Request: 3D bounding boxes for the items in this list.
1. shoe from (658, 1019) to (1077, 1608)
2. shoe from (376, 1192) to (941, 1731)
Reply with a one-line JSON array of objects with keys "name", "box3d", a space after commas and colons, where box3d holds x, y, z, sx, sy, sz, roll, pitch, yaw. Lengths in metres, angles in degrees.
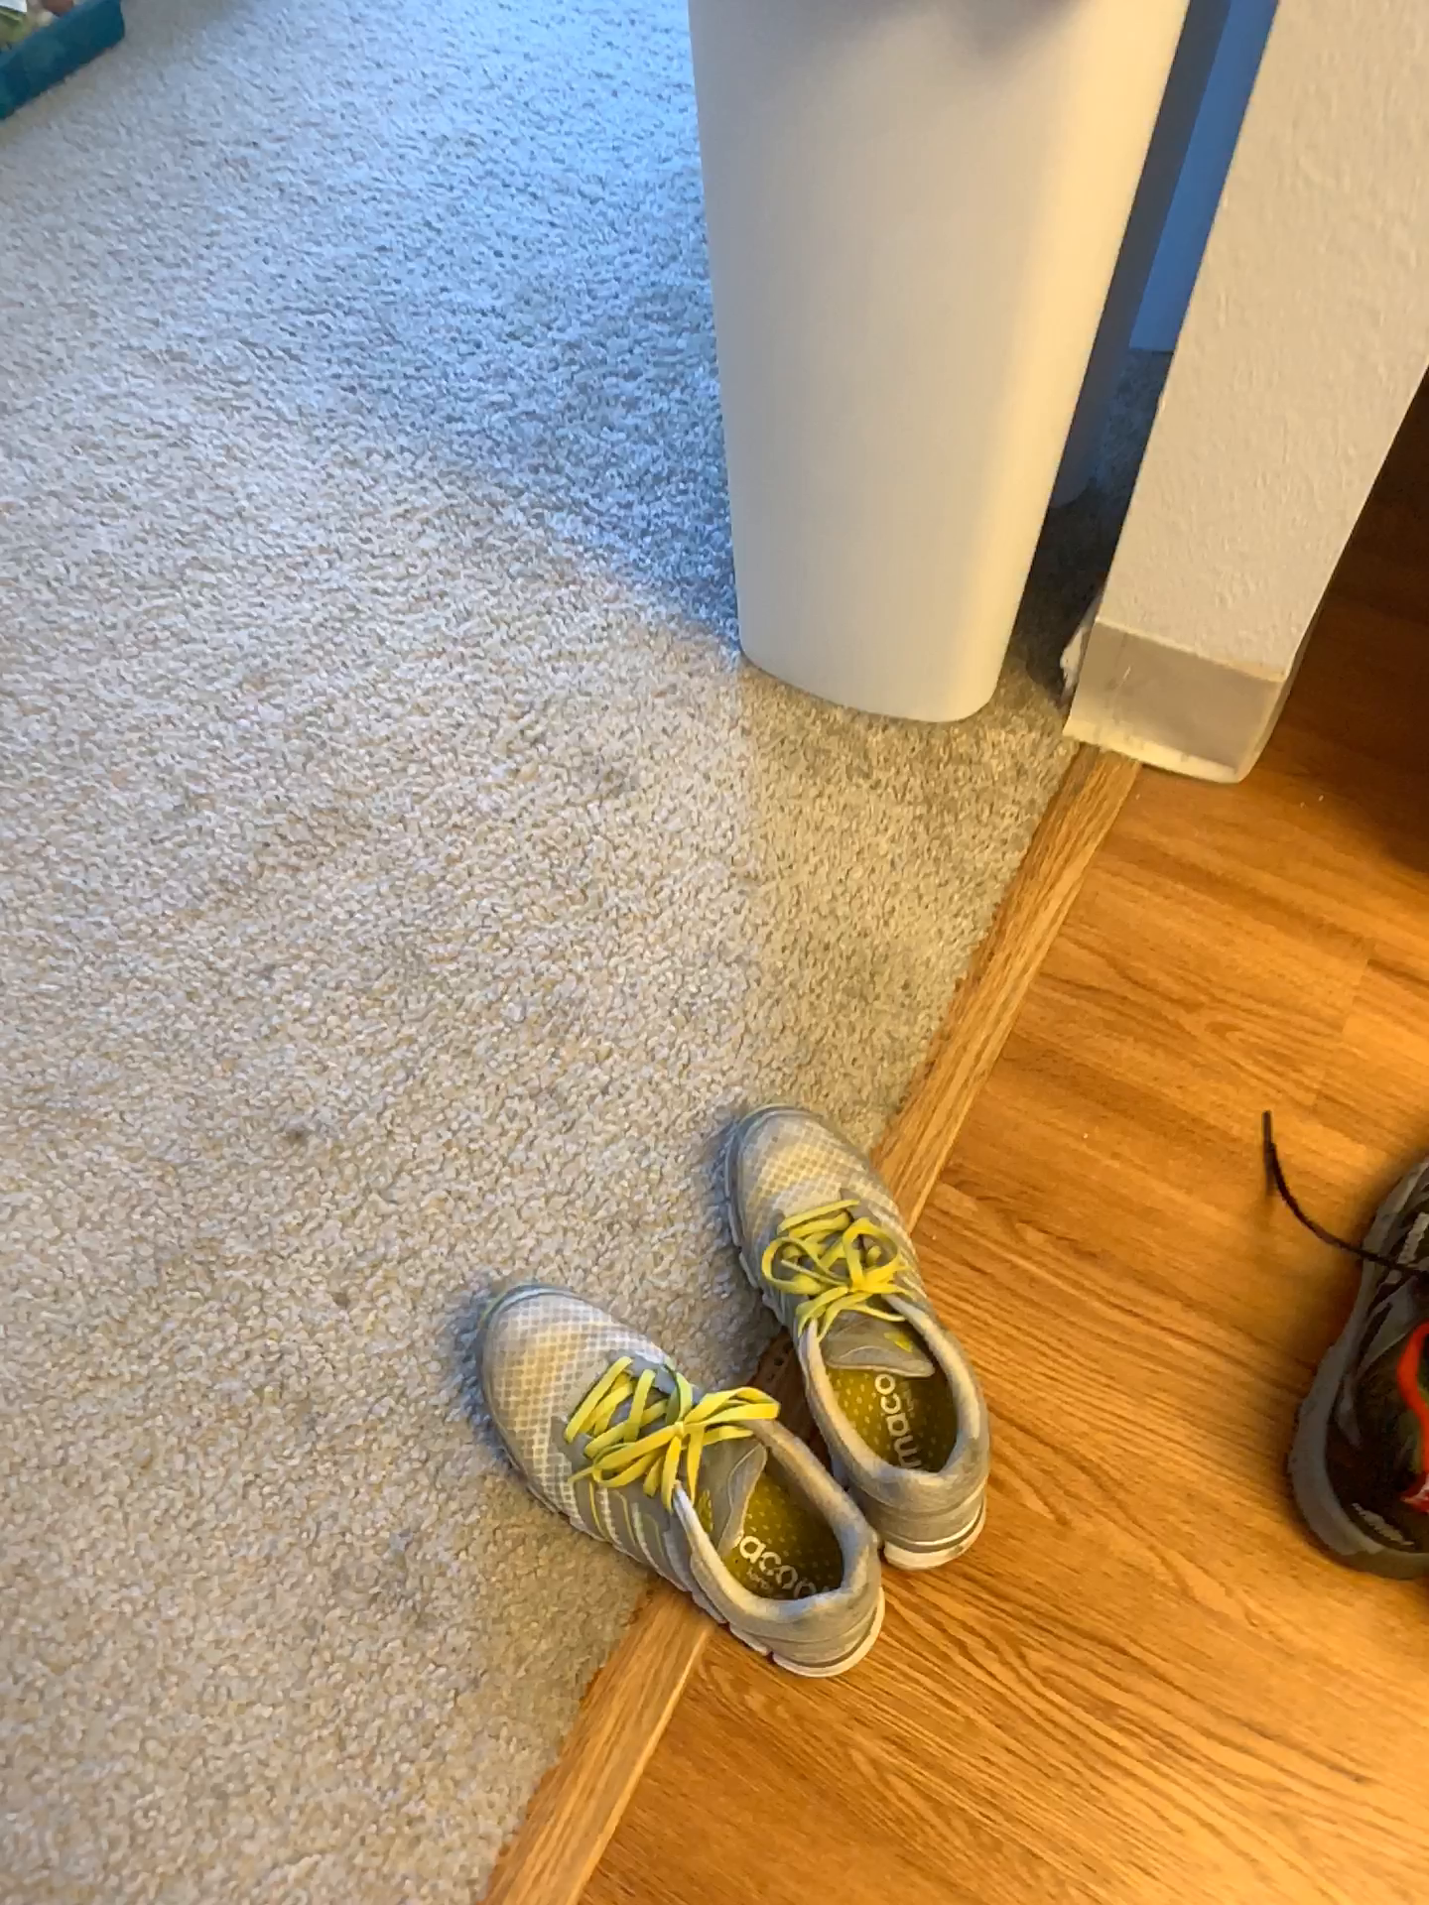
[{"name": "shoe", "box3d": [0.070, 0.176, 0.733, 0.090, 0.090, 0.261, -25, 61, -5]}, {"name": "shoe", "box3d": [-0.029, 0.239, 0.685, 0.251, 0.130, 0.080, 34, 64, 19]}]
